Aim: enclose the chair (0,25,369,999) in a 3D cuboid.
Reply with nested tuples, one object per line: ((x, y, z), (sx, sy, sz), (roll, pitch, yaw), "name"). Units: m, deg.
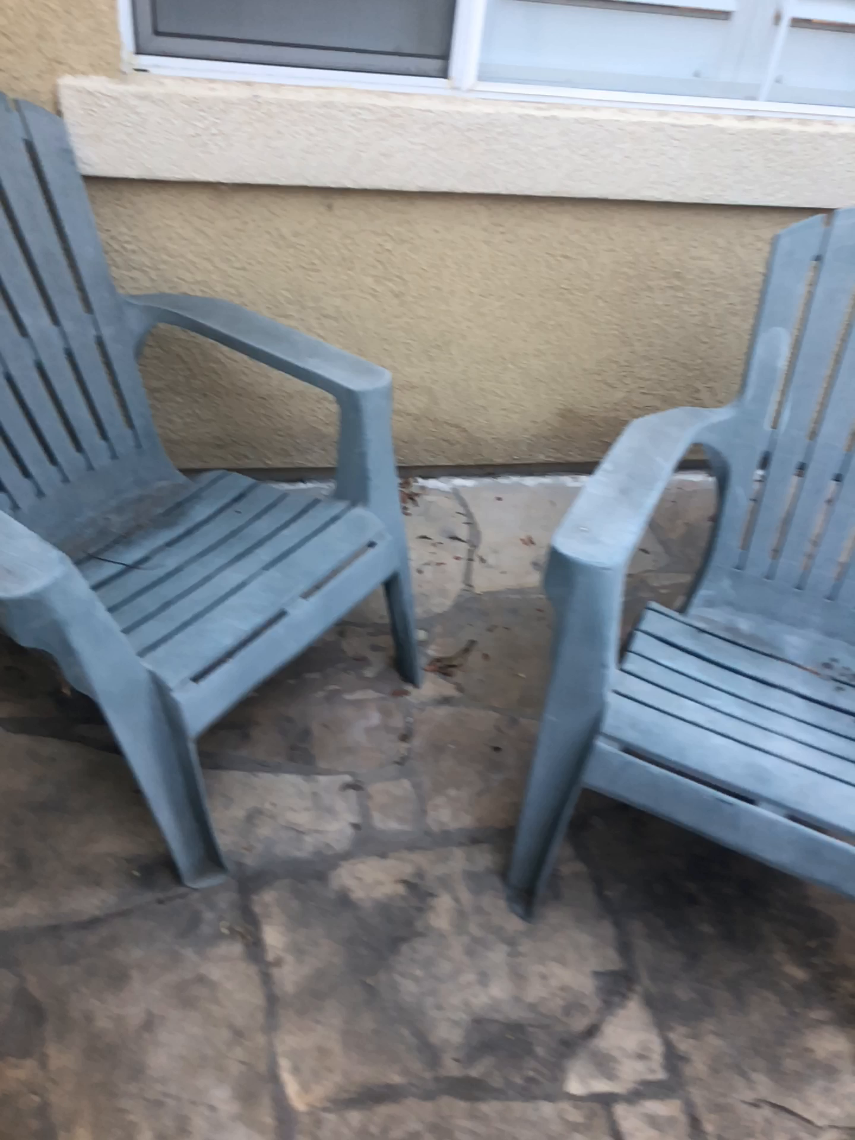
((-0.703, -0.165, 1.567), (0.910, 1.220, 0.746), (19, 38, 27), "chair")

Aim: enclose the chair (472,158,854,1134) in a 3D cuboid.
((0.615, 0.006, 1.372), (0.690, 0.882, 0.928), (19, 36, 15), "chair")
